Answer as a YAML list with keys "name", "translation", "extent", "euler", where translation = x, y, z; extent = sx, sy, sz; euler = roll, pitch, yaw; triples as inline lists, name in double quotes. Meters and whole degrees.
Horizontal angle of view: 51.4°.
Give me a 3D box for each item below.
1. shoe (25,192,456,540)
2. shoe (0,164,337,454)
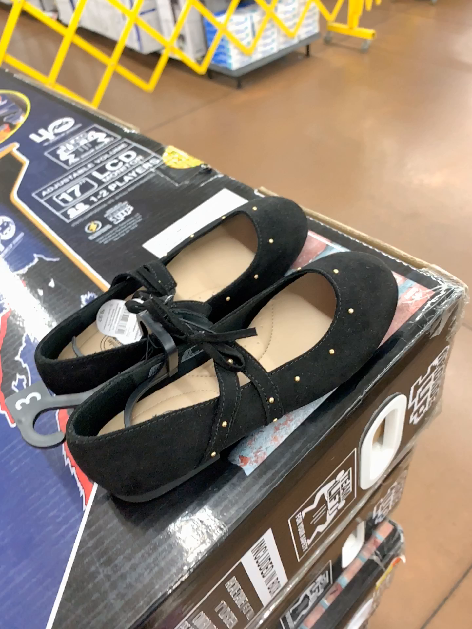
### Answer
- name: "shoe"
  translation: [0.011, 0.018, 0.308]
  extent: [0.240, 0.070, 0.090]
  euler: [-29, 49, -18]
- name: "shoe"
  translation: [-0.041, -0.019, 0.382]
  extent: [0.250, 0.070, 0.090]
  euler: [-35, 51, -23]
